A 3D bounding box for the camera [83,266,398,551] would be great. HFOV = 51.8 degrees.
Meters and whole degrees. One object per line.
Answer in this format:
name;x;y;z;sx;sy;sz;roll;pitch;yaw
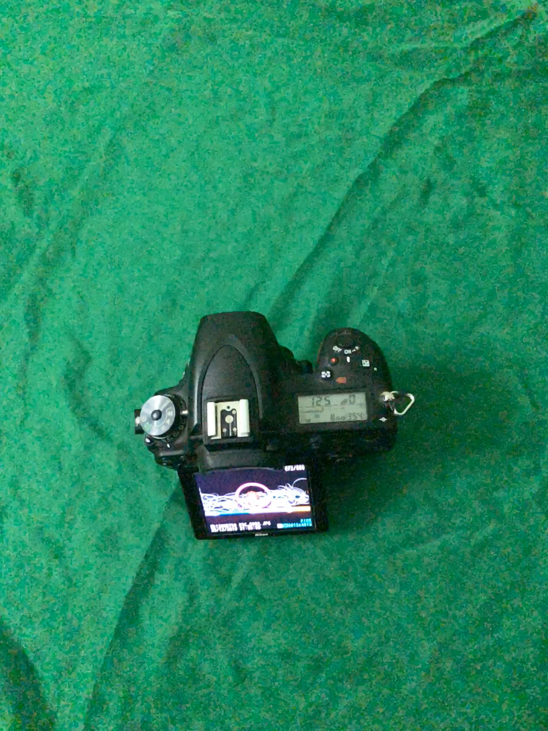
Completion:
camera;-0.013;0.032;0.315;0.142;0.100;0.128;-4;73;6
